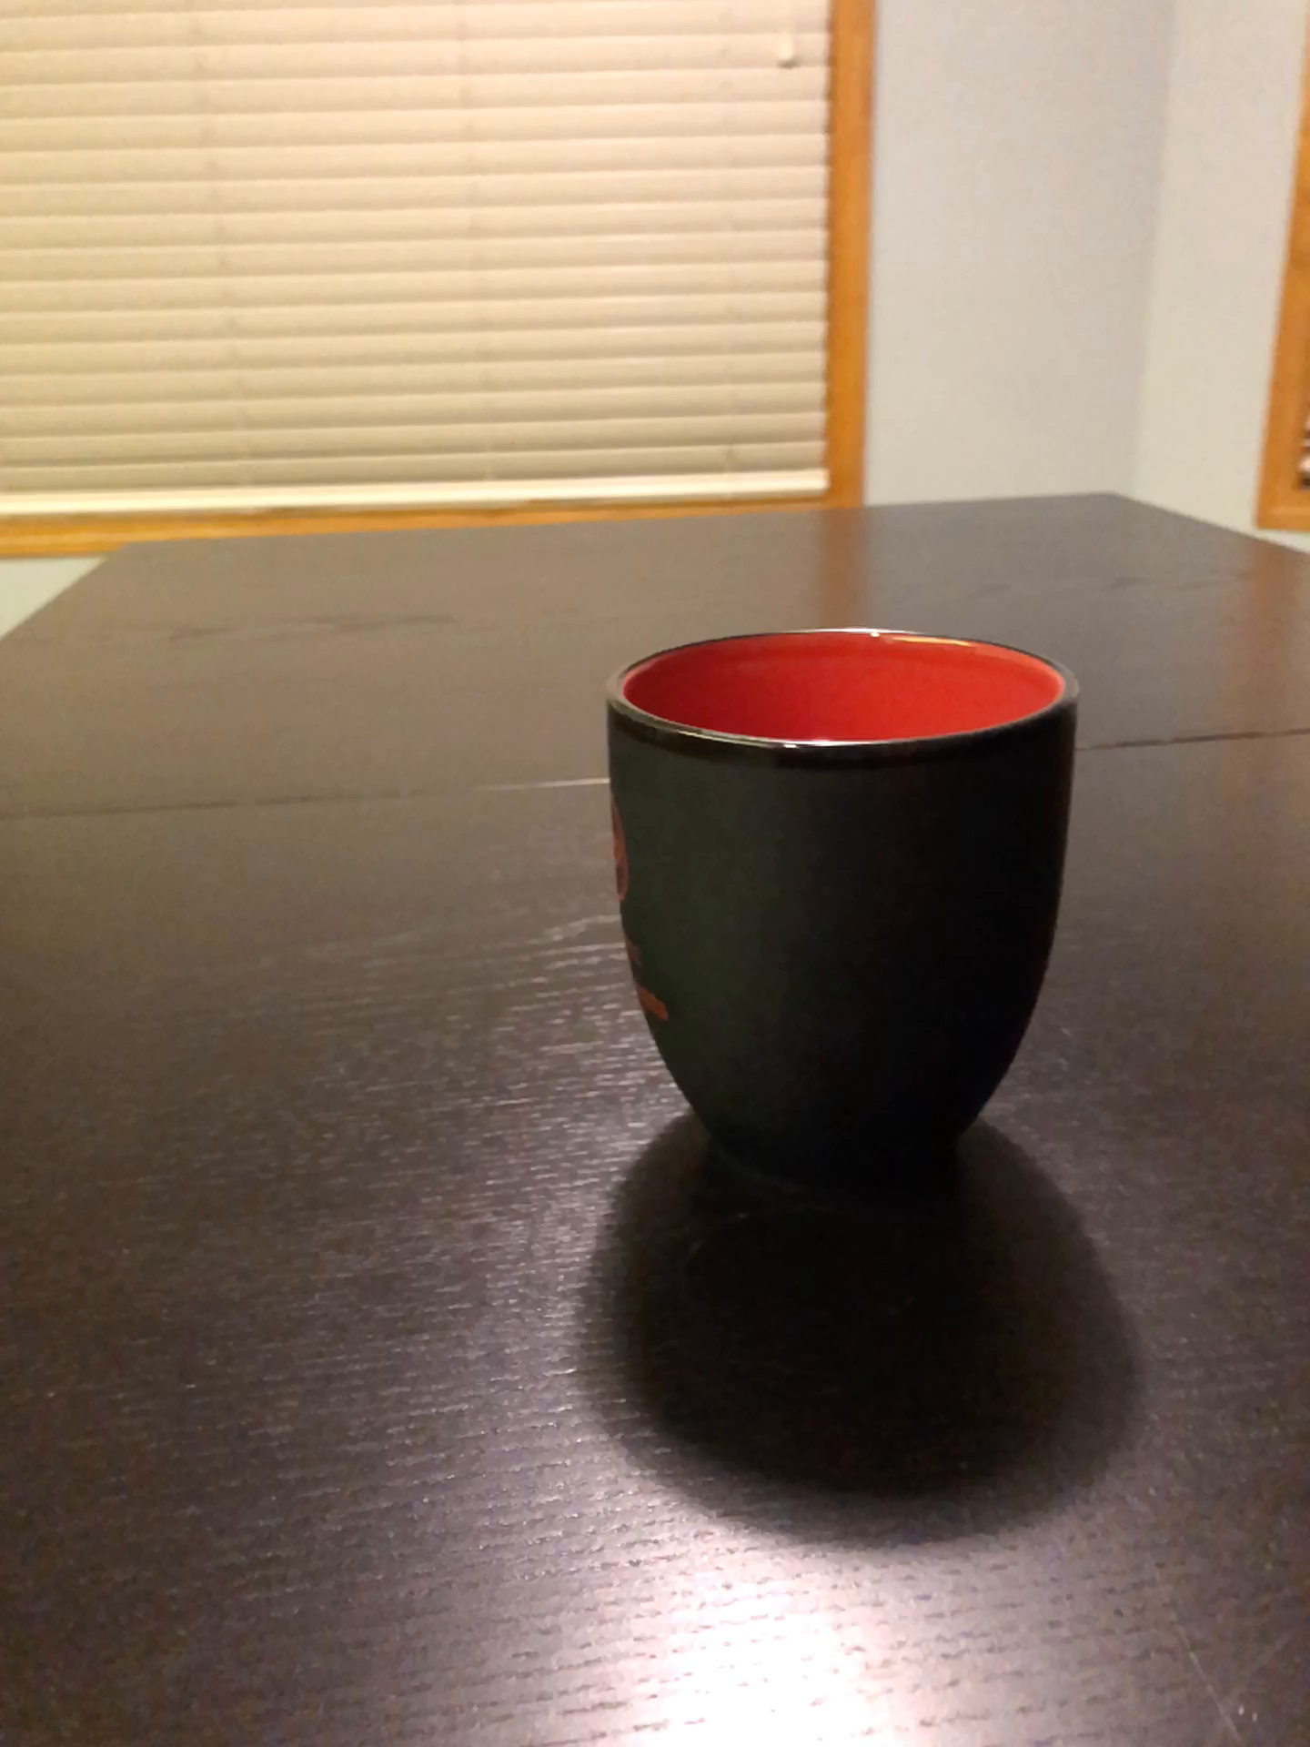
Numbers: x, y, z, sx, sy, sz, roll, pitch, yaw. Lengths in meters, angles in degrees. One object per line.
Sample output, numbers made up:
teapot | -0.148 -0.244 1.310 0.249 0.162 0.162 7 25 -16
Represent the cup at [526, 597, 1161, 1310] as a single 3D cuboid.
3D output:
cup | 0.031 0.005 0.342 0.100 0.110 0.141 -5 21 -10
